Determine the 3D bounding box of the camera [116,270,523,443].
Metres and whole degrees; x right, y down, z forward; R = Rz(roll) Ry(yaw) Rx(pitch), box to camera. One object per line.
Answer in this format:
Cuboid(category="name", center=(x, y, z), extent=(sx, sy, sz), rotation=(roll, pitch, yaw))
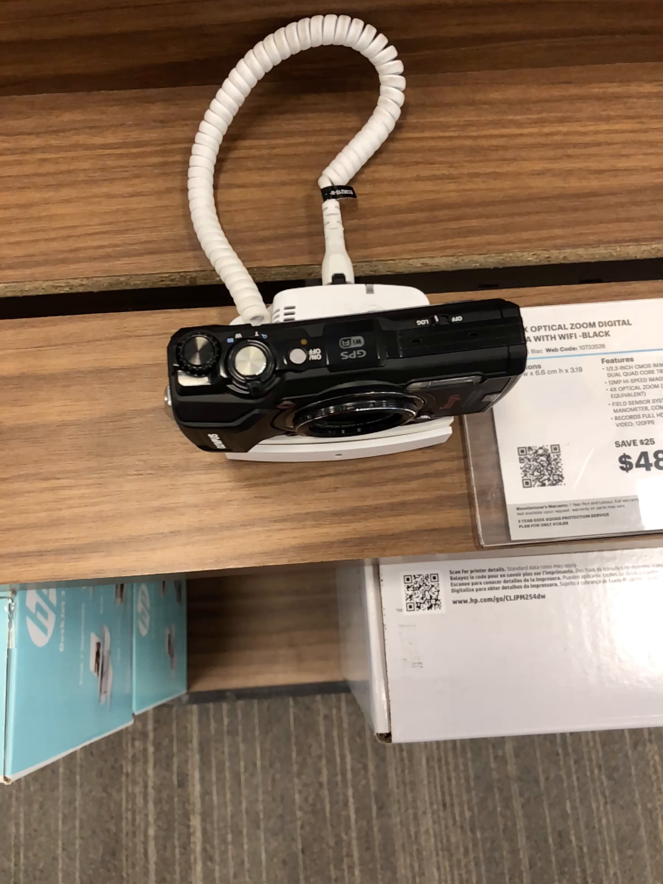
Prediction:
Cuboid(category="camera", center=(-0.004, -0.026, 0.251), extent=(0.120, 0.060, 0.030), rotation=(-4, 75, -2))
